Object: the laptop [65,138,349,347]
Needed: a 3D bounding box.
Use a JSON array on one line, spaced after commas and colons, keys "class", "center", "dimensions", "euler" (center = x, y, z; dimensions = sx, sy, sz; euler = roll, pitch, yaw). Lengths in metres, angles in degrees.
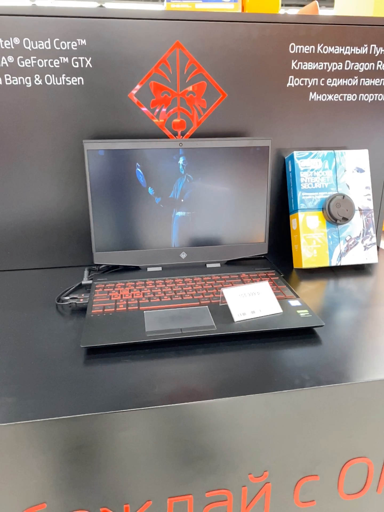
[{"class": "laptop", "center": [0.001, -0.057, 0.663], "dimensions": [0.358, 0.247, 0.303], "euler": [-3, 21, -9]}]
